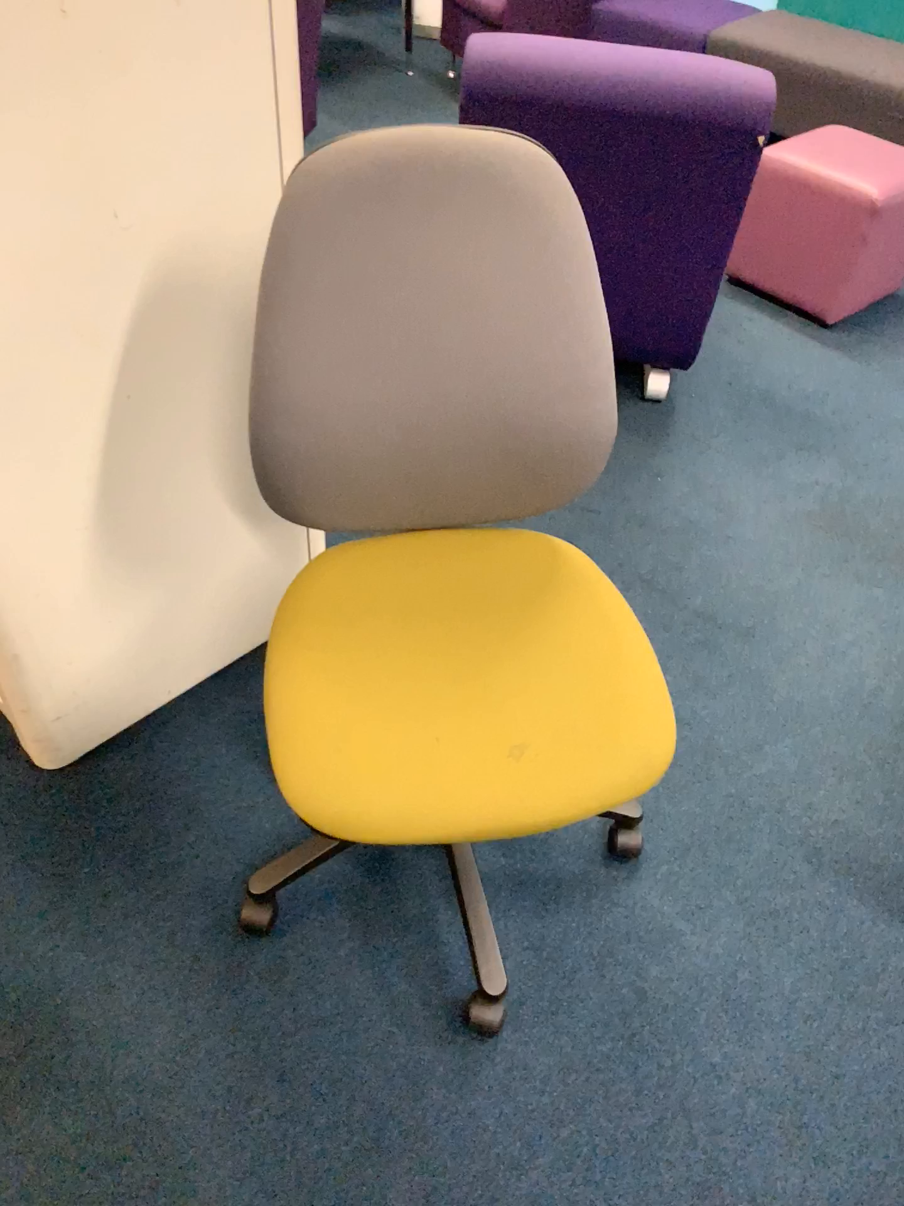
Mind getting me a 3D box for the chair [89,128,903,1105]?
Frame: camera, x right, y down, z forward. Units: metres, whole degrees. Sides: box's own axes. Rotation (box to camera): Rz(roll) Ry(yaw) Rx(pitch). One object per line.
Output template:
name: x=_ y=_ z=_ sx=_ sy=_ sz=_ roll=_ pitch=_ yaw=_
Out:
chair: x=0.019 y=0.036 z=1.106 sx=0.640 sy=0.921 sz=0.666 roll=-6 pitch=46 yaw=-11
